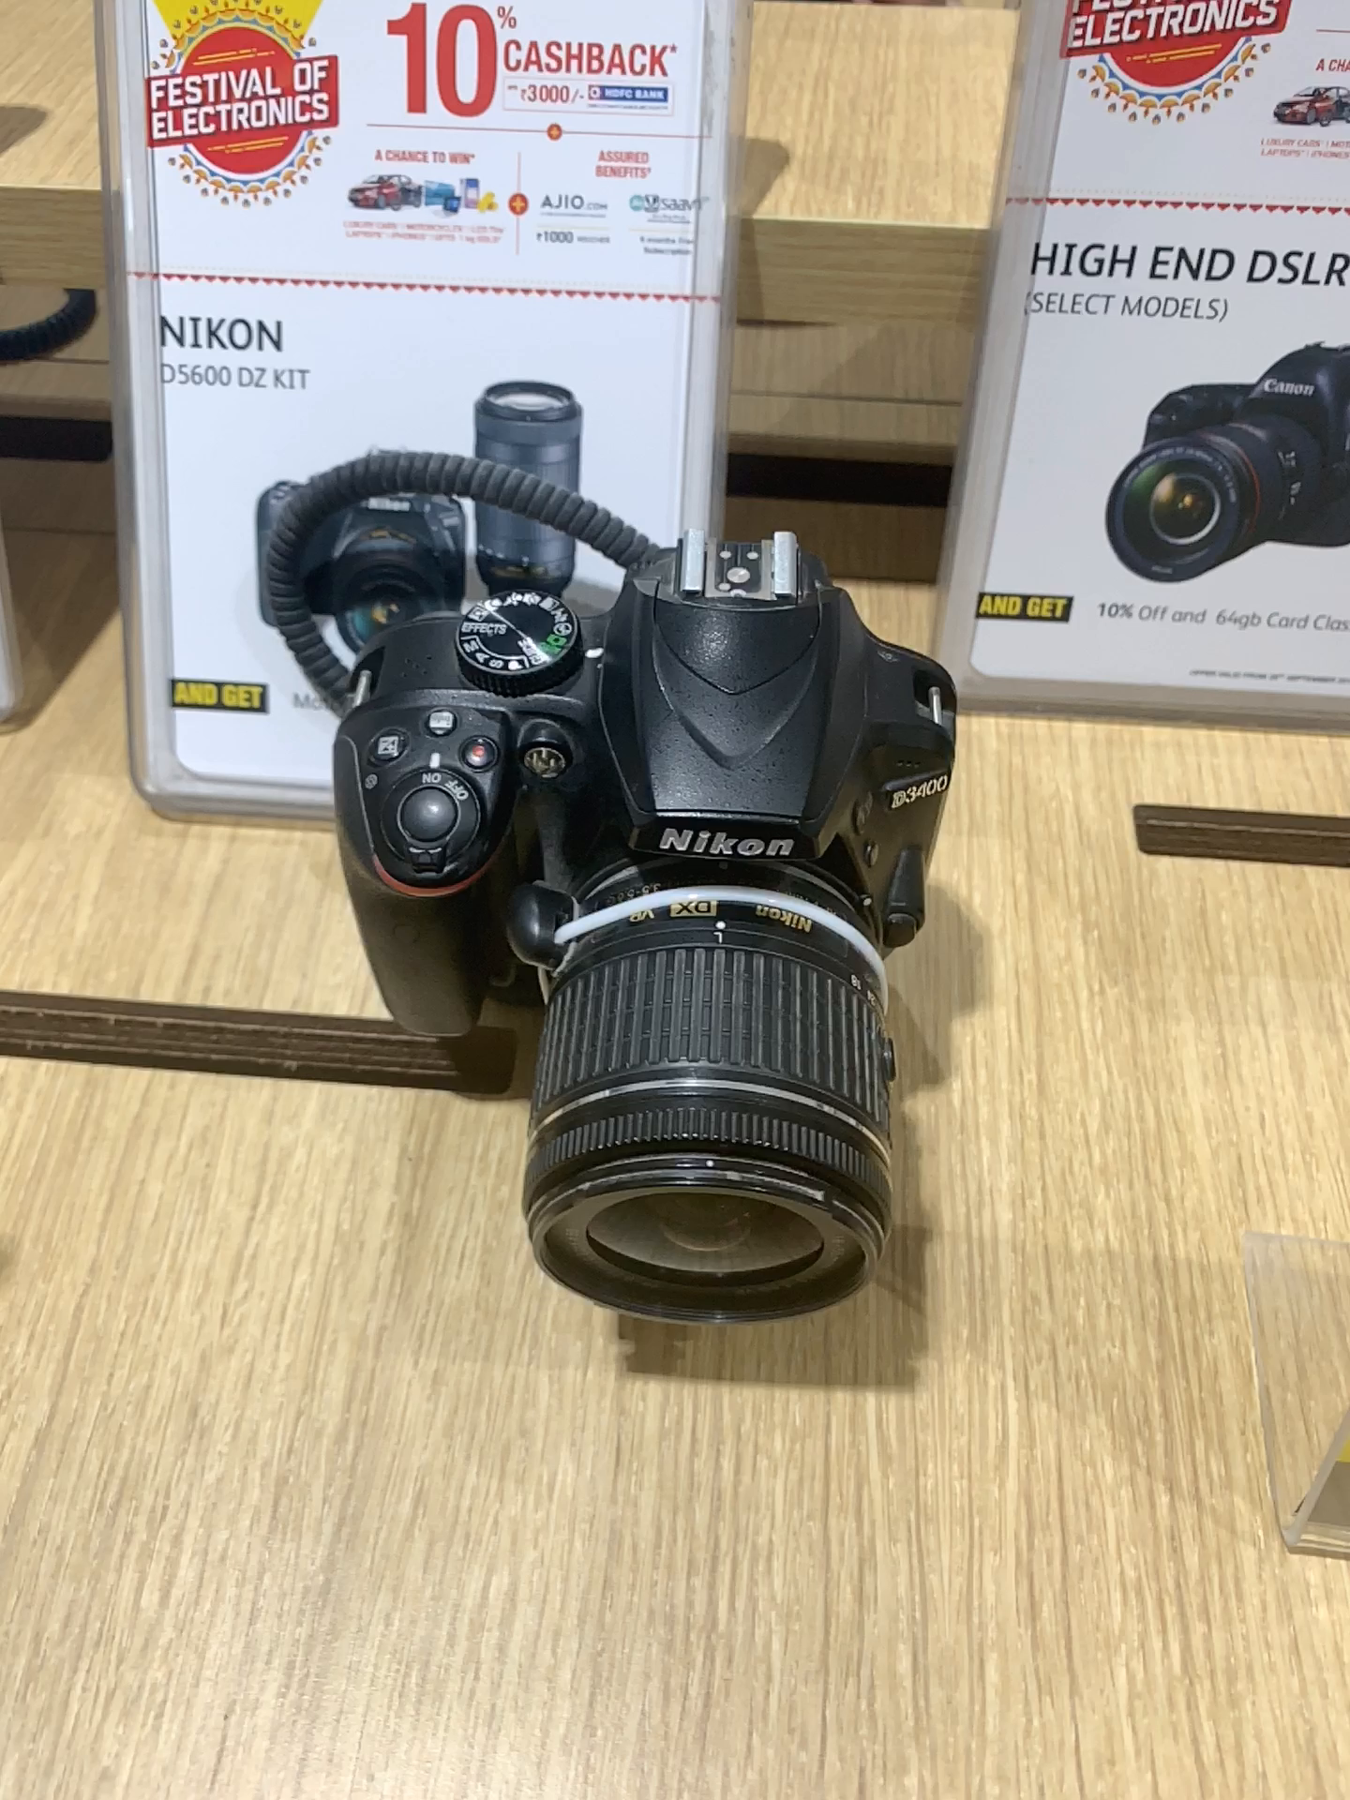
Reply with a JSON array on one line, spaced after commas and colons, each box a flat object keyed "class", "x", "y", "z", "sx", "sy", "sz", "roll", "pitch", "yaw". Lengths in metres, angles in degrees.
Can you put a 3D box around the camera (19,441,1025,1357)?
[{"class": "camera", "x": -0.016, "y": 0.000, "z": 0.243, "sx": 0.120, "sy": 0.100, "sz": 0.120, "roll": 1, "pitch": 51, "yaw": 2}]
